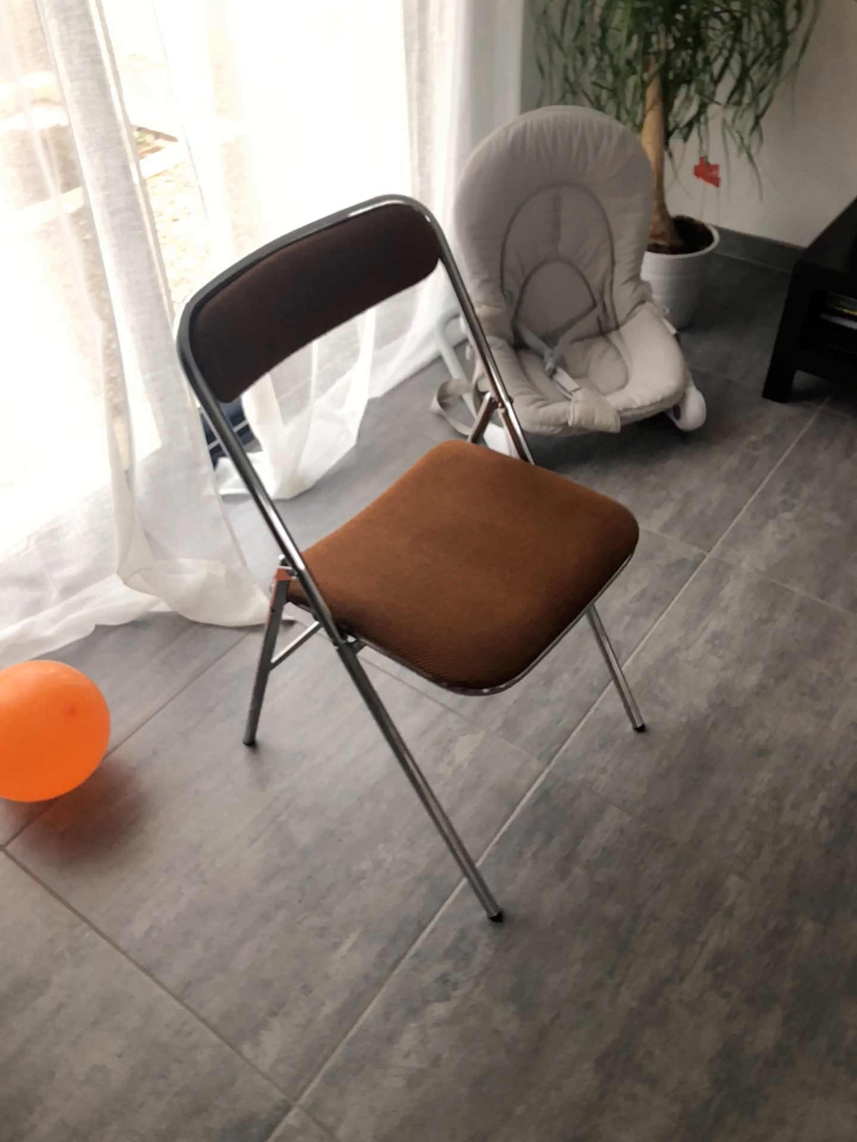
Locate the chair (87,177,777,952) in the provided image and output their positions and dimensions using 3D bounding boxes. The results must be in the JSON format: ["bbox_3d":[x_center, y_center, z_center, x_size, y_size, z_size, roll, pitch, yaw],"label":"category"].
[{"bbox_3d":[0.017,-0.012,1.247,0.550,0.736,0.482,28,51,27],"label":"chair"}]
